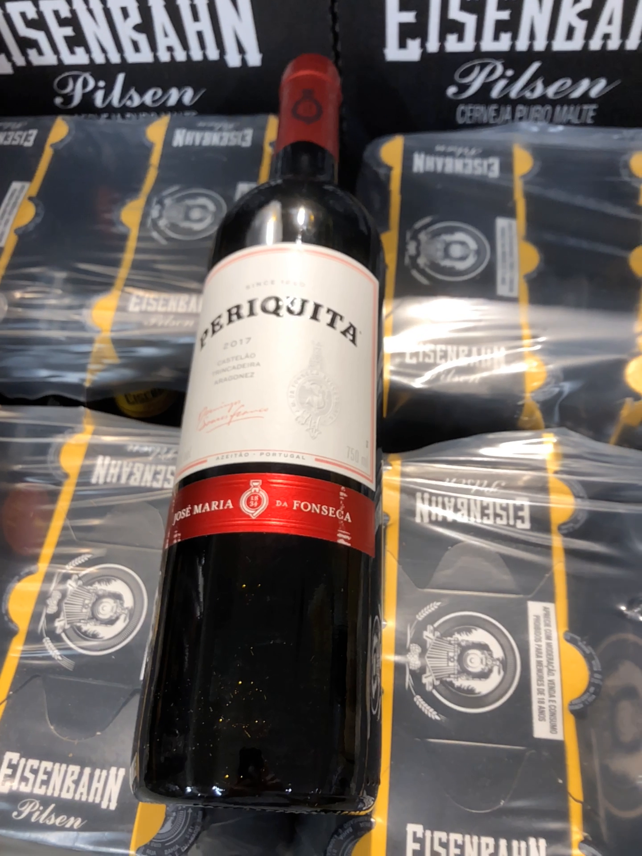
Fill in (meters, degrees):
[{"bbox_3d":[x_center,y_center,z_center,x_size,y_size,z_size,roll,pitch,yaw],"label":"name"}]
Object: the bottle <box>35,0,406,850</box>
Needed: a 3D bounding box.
[{"bbox_3d":[-0.012,-0.043,0.262,0.080,0.070,0.331,1,62,4],"label":"bottle"}]
